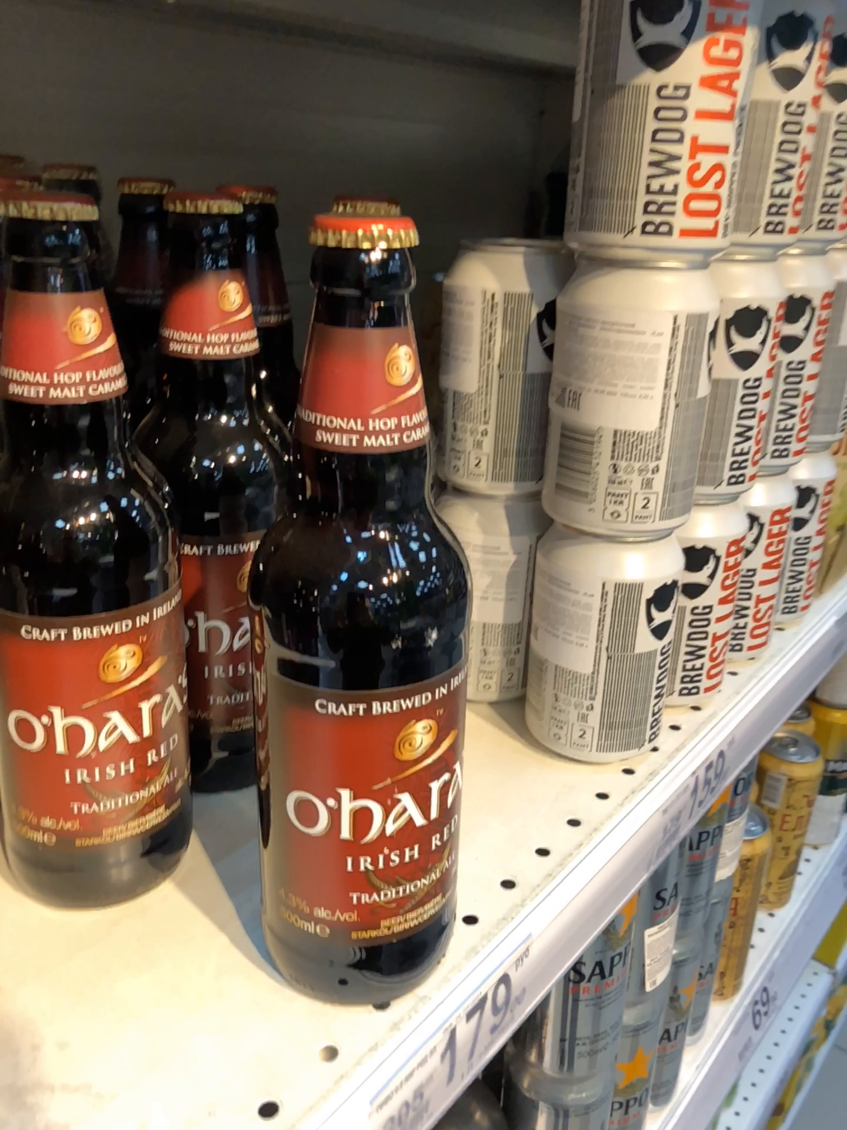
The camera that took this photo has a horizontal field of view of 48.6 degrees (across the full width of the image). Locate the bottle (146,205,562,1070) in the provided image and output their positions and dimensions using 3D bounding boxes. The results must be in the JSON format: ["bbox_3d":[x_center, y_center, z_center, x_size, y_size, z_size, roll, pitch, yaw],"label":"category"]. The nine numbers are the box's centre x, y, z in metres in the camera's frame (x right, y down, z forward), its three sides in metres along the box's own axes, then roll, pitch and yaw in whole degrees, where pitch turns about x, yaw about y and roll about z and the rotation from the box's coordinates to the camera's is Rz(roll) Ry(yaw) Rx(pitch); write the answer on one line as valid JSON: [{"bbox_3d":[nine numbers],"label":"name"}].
[{"bbox_3d":[-0.027,0.022,0.295,0.080,0.246,0.080,3,23,-1],"label":"bottle"}]
